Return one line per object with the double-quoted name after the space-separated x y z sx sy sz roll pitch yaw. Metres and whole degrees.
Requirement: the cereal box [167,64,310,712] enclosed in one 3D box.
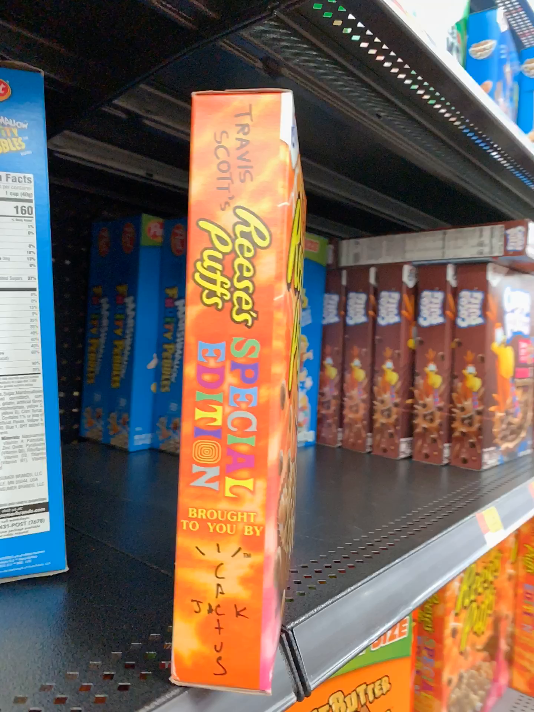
-0.006 0.013 0.348 0.050 0.290 0.200 1 2 7 "cereal box"
